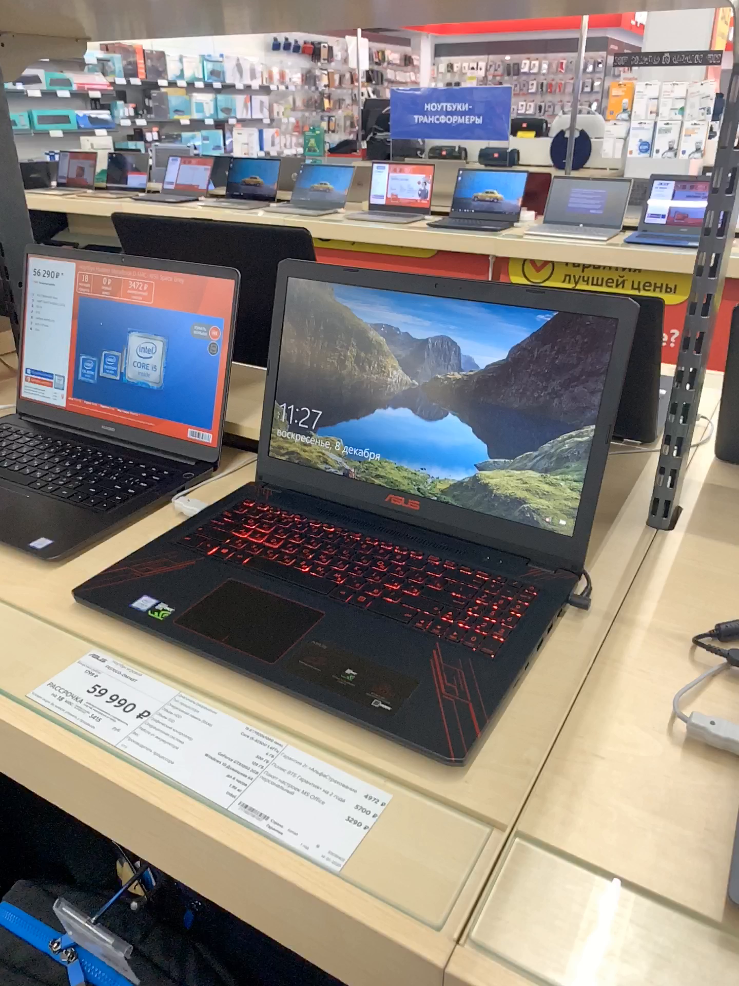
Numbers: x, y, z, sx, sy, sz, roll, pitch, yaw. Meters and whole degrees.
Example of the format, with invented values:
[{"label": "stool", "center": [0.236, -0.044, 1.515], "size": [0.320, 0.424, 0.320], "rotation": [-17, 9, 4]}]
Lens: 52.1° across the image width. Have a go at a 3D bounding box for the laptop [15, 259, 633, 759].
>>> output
[{"label": "laptop", "center": [-0.020, -0.038, 0.638], "size": [0.366, 0.229, 0.318], "rotation": [15, 30, 27]}]
